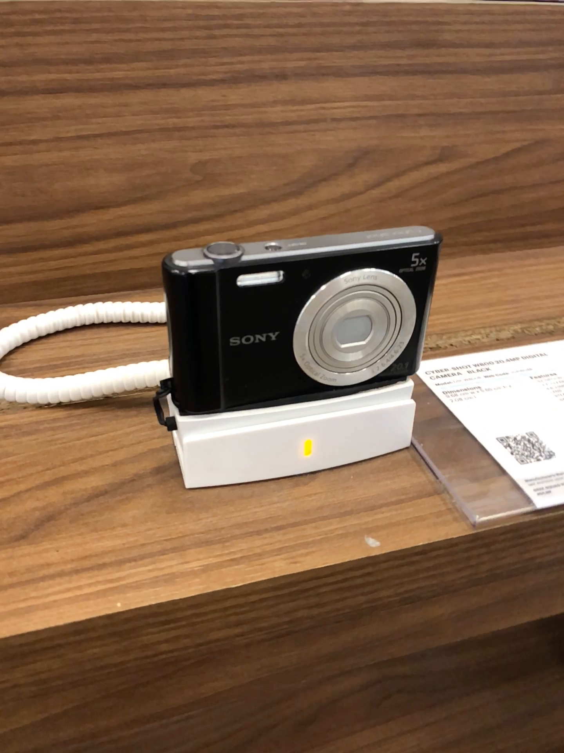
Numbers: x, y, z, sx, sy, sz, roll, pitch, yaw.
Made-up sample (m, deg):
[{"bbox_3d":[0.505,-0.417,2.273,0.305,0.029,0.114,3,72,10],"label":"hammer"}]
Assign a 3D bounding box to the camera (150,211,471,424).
[{"bbox_3d":[0.009,-0.021,0.216,0.100,0.060,0.020,-8,38,-14],"label":"camera"}]
